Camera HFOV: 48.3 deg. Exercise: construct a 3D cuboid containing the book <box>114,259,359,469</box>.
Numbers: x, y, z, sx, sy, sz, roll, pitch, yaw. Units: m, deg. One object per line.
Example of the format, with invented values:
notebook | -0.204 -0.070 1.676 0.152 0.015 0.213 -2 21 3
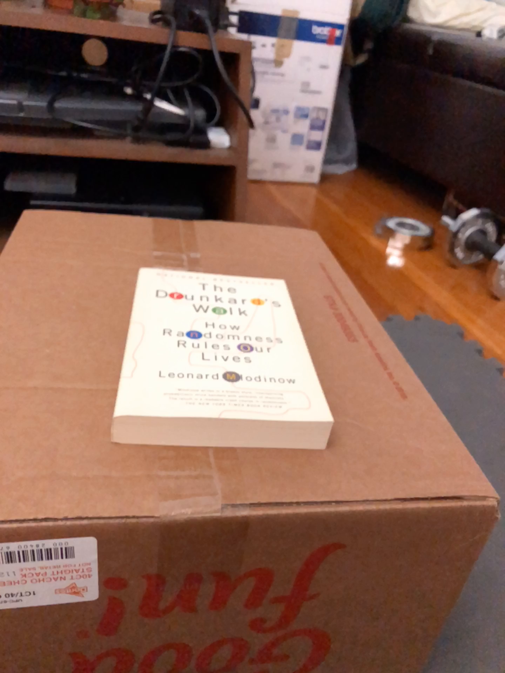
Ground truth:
book | -0.020 0.008 0.419 0.140 0.040 0.211 3 31 -9
